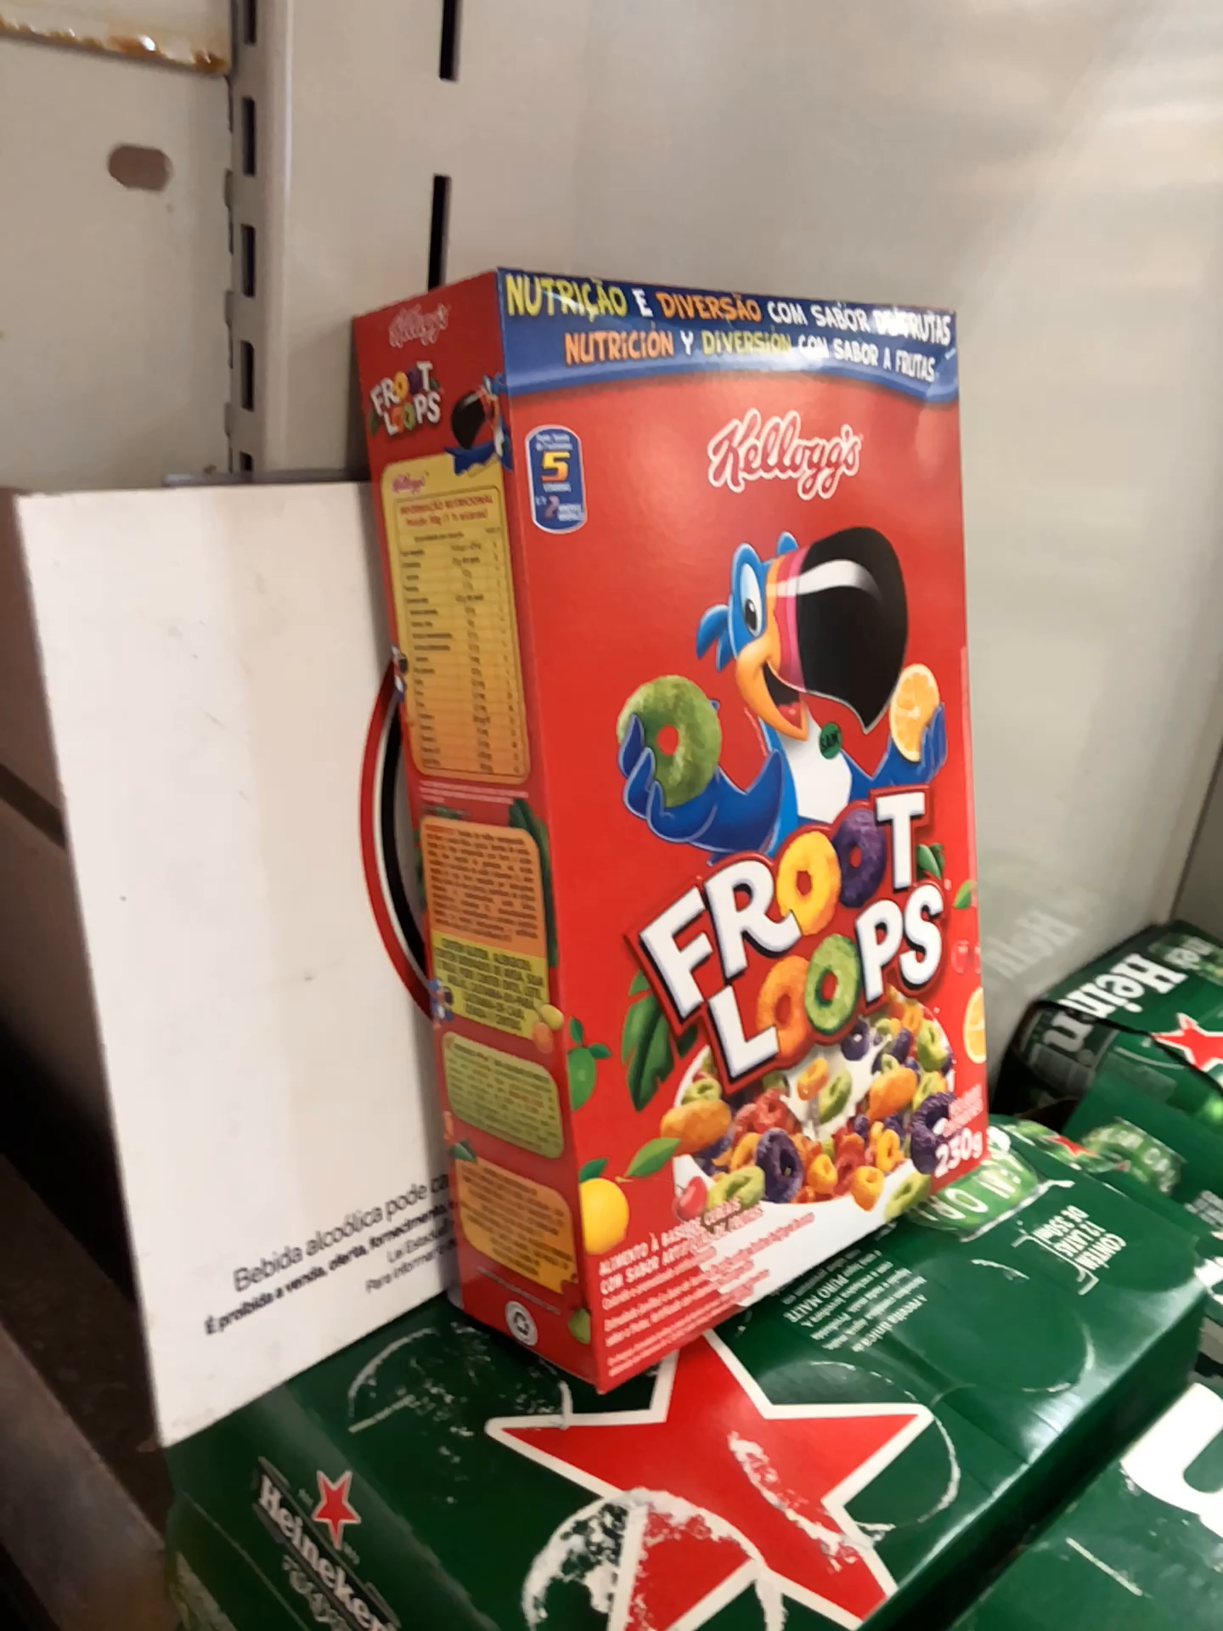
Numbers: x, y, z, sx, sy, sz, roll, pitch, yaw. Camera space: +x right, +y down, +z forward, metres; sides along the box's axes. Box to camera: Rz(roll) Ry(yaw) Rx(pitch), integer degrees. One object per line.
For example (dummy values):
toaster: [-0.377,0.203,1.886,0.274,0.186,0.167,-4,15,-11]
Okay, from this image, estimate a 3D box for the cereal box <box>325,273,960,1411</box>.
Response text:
cereal box: [0.020,-0.002,0.373,0.151,0.259,0.060,-14,13,-40]
